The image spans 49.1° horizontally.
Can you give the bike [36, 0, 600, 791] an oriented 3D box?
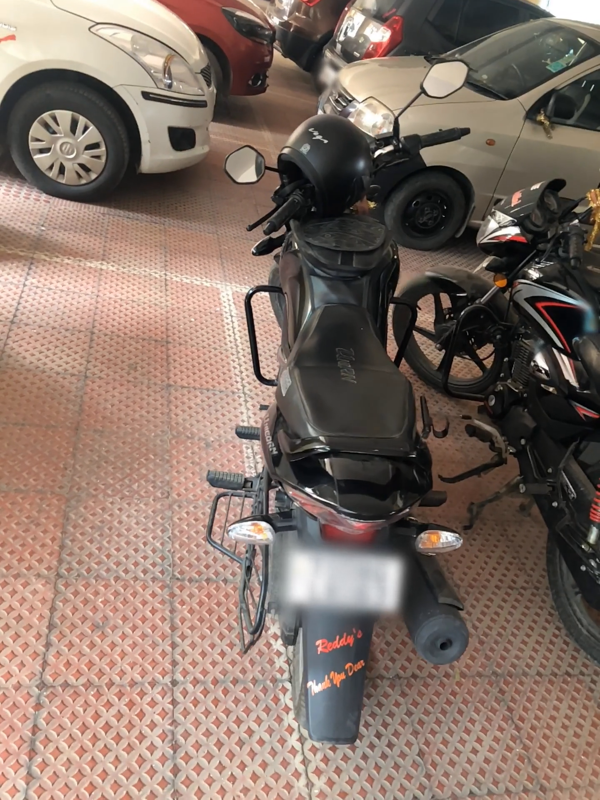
[{"bbox_3d":[-0.102,-0.178,1.798,0.804,1.200,1.691,9,36,-13],"label":"bike"}]
